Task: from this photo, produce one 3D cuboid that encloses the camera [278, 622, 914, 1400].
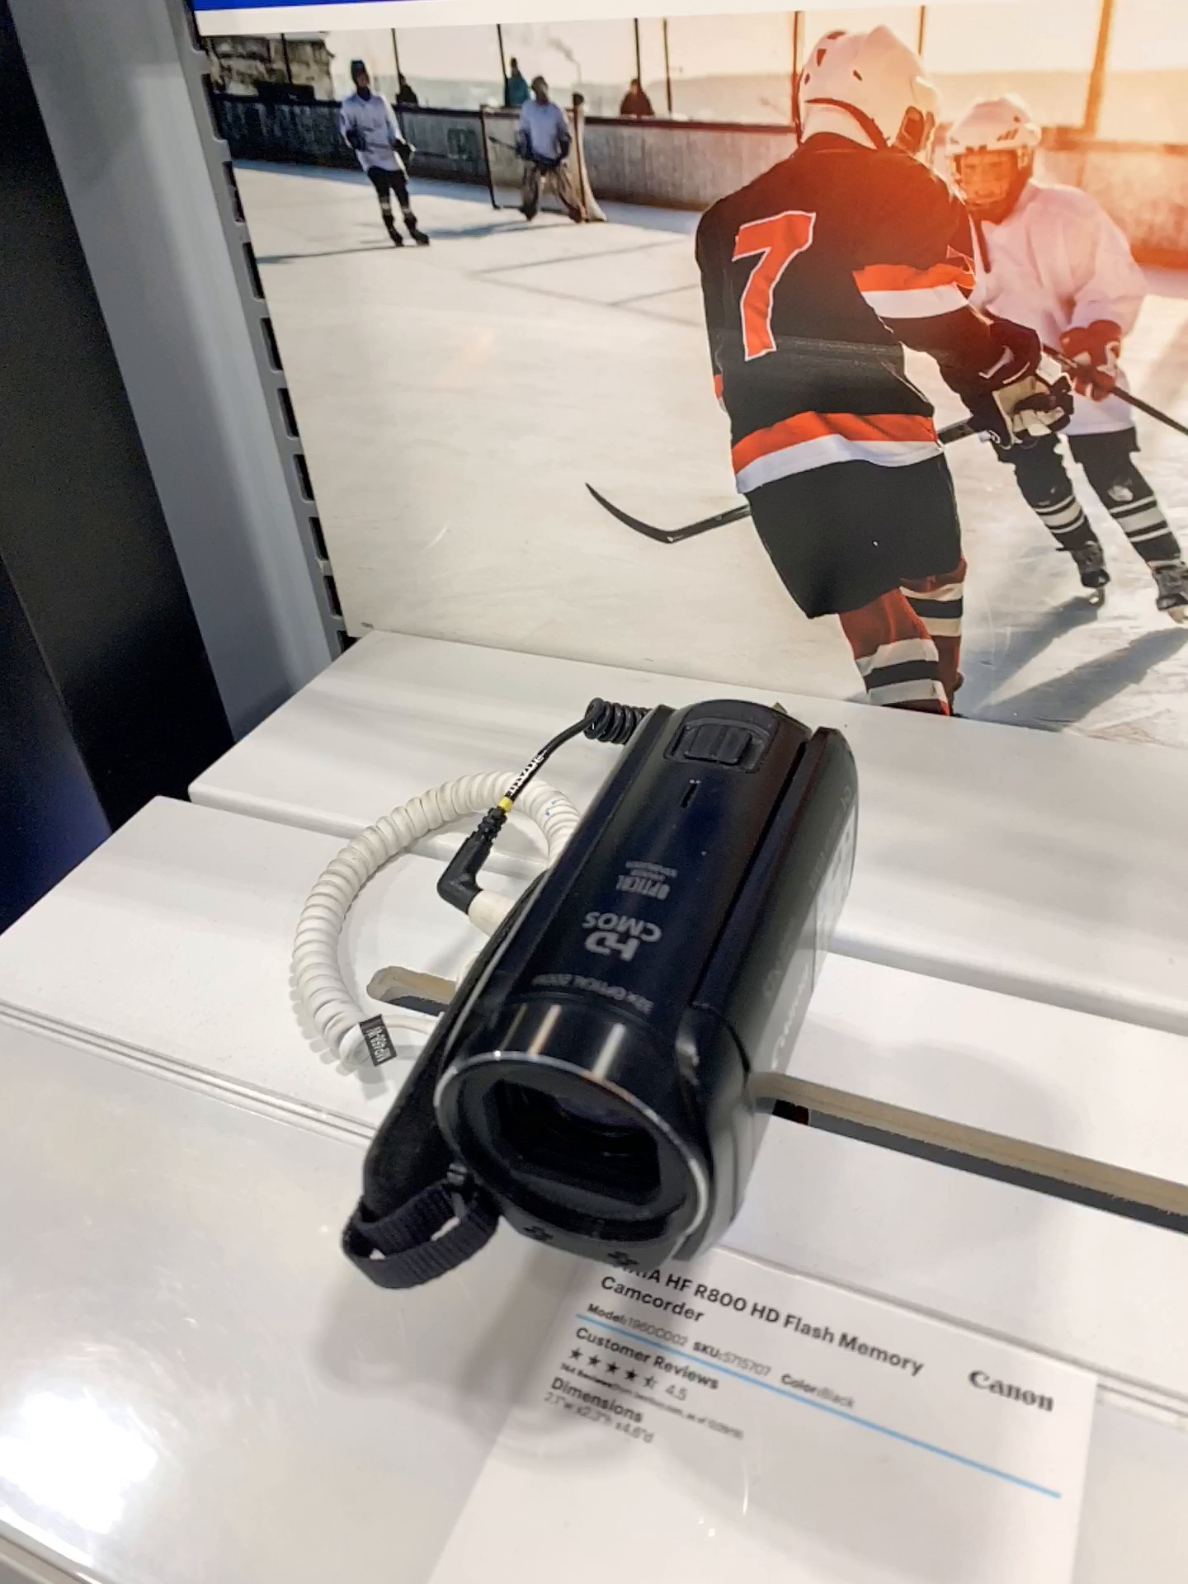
[{"bbox_3d":[0.012,0.031,0.251,0.072,0.062,0.140,11,40,21],"label":"camera"}]
